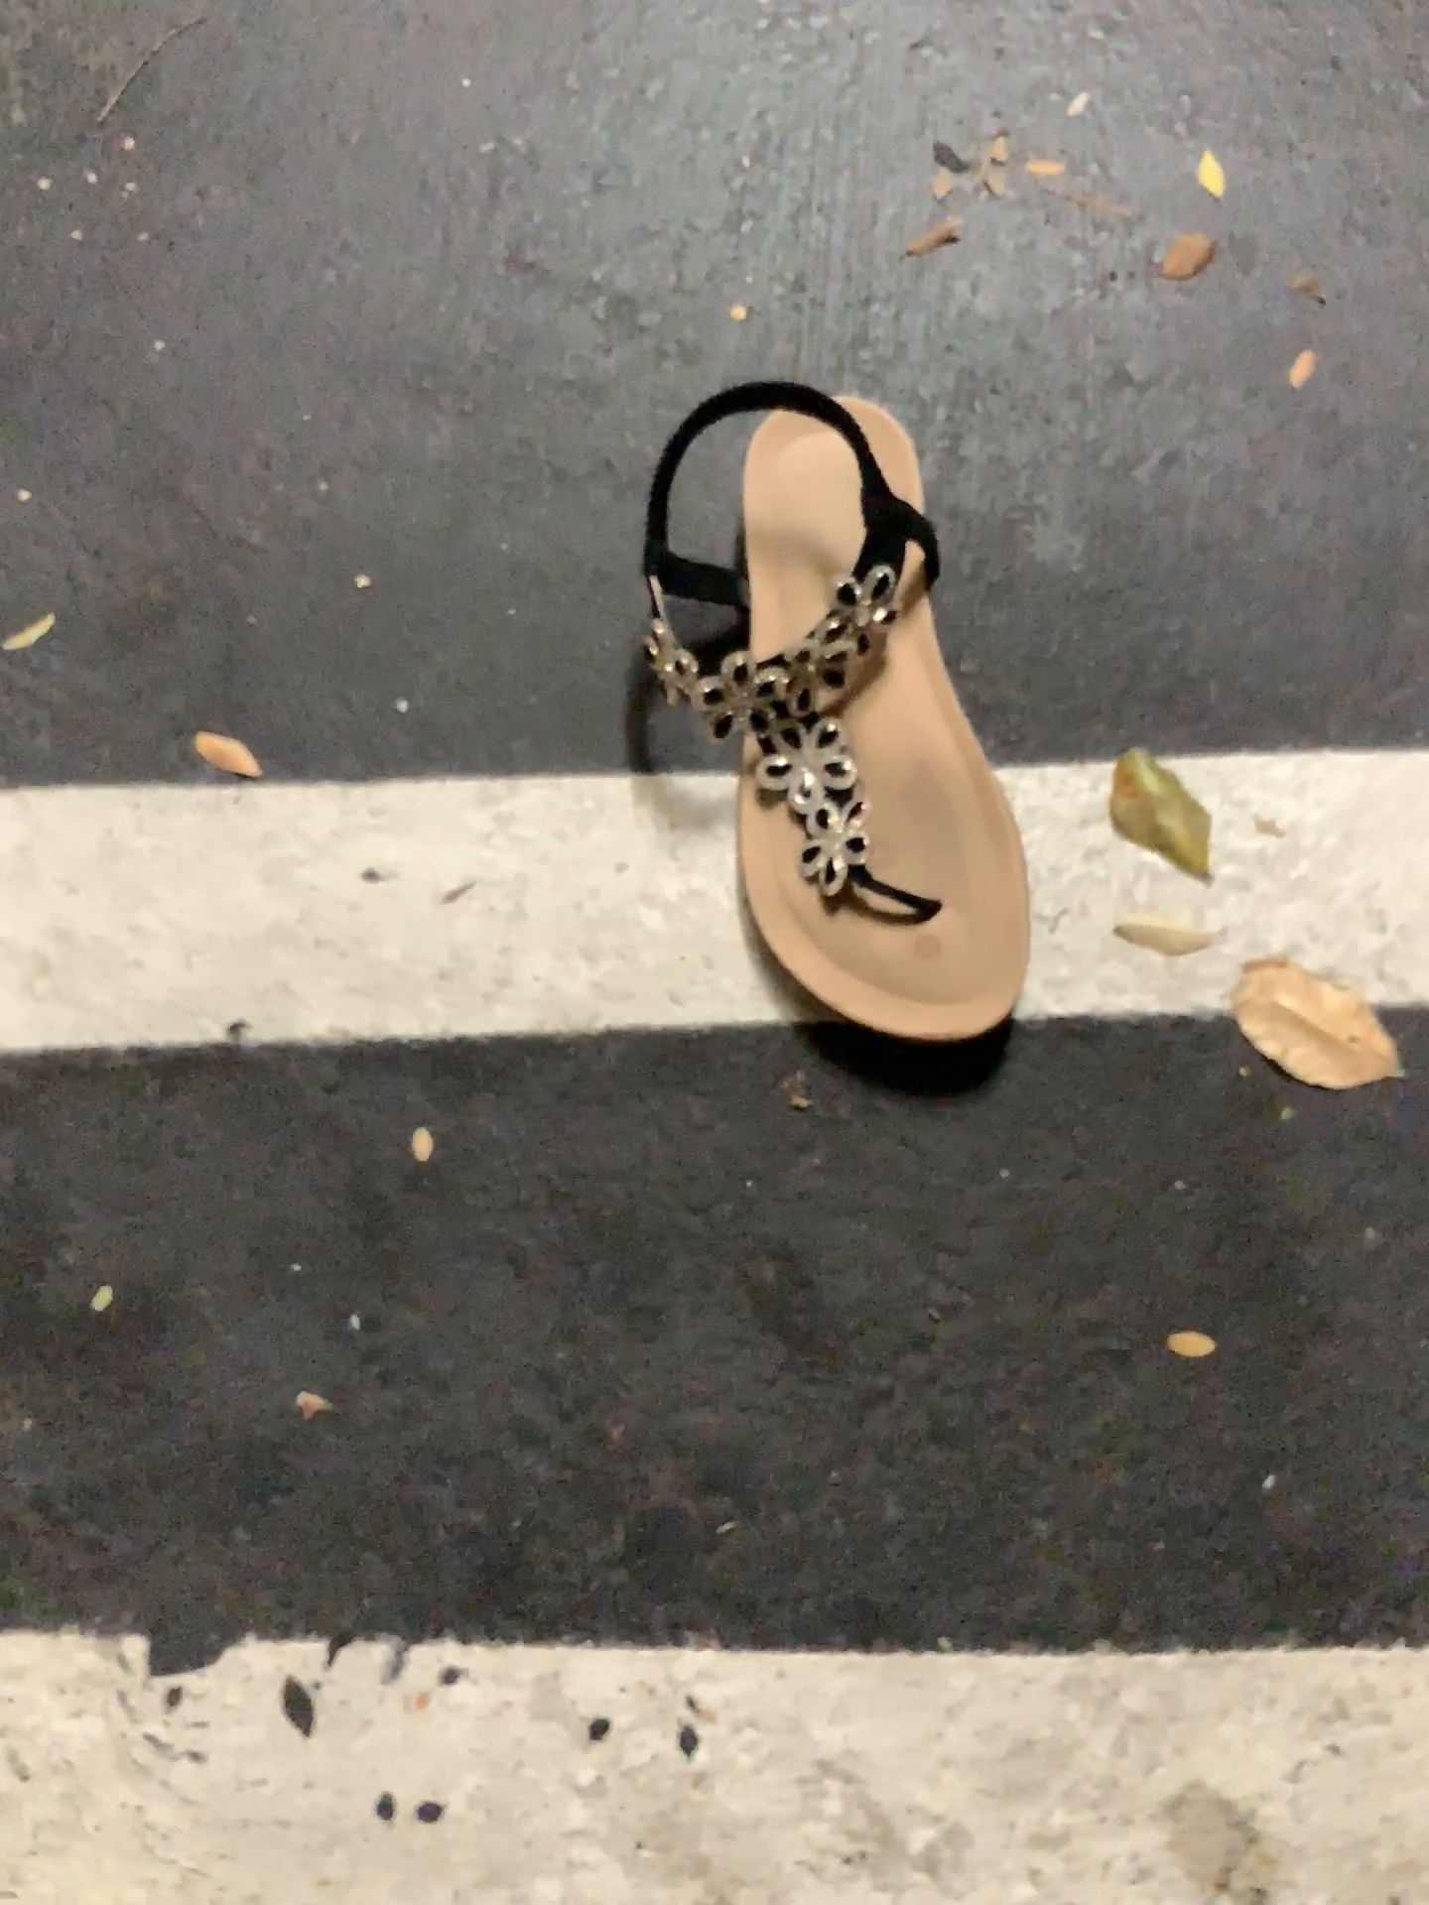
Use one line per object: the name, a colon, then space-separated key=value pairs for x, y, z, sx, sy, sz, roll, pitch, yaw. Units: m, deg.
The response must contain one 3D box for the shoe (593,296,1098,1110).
shoe: x=0.037 y=-0.088 z=0.545 sx=0.120 sy=0.060 sz=0.260 roll=-9 pitch=72 yaw=-1
